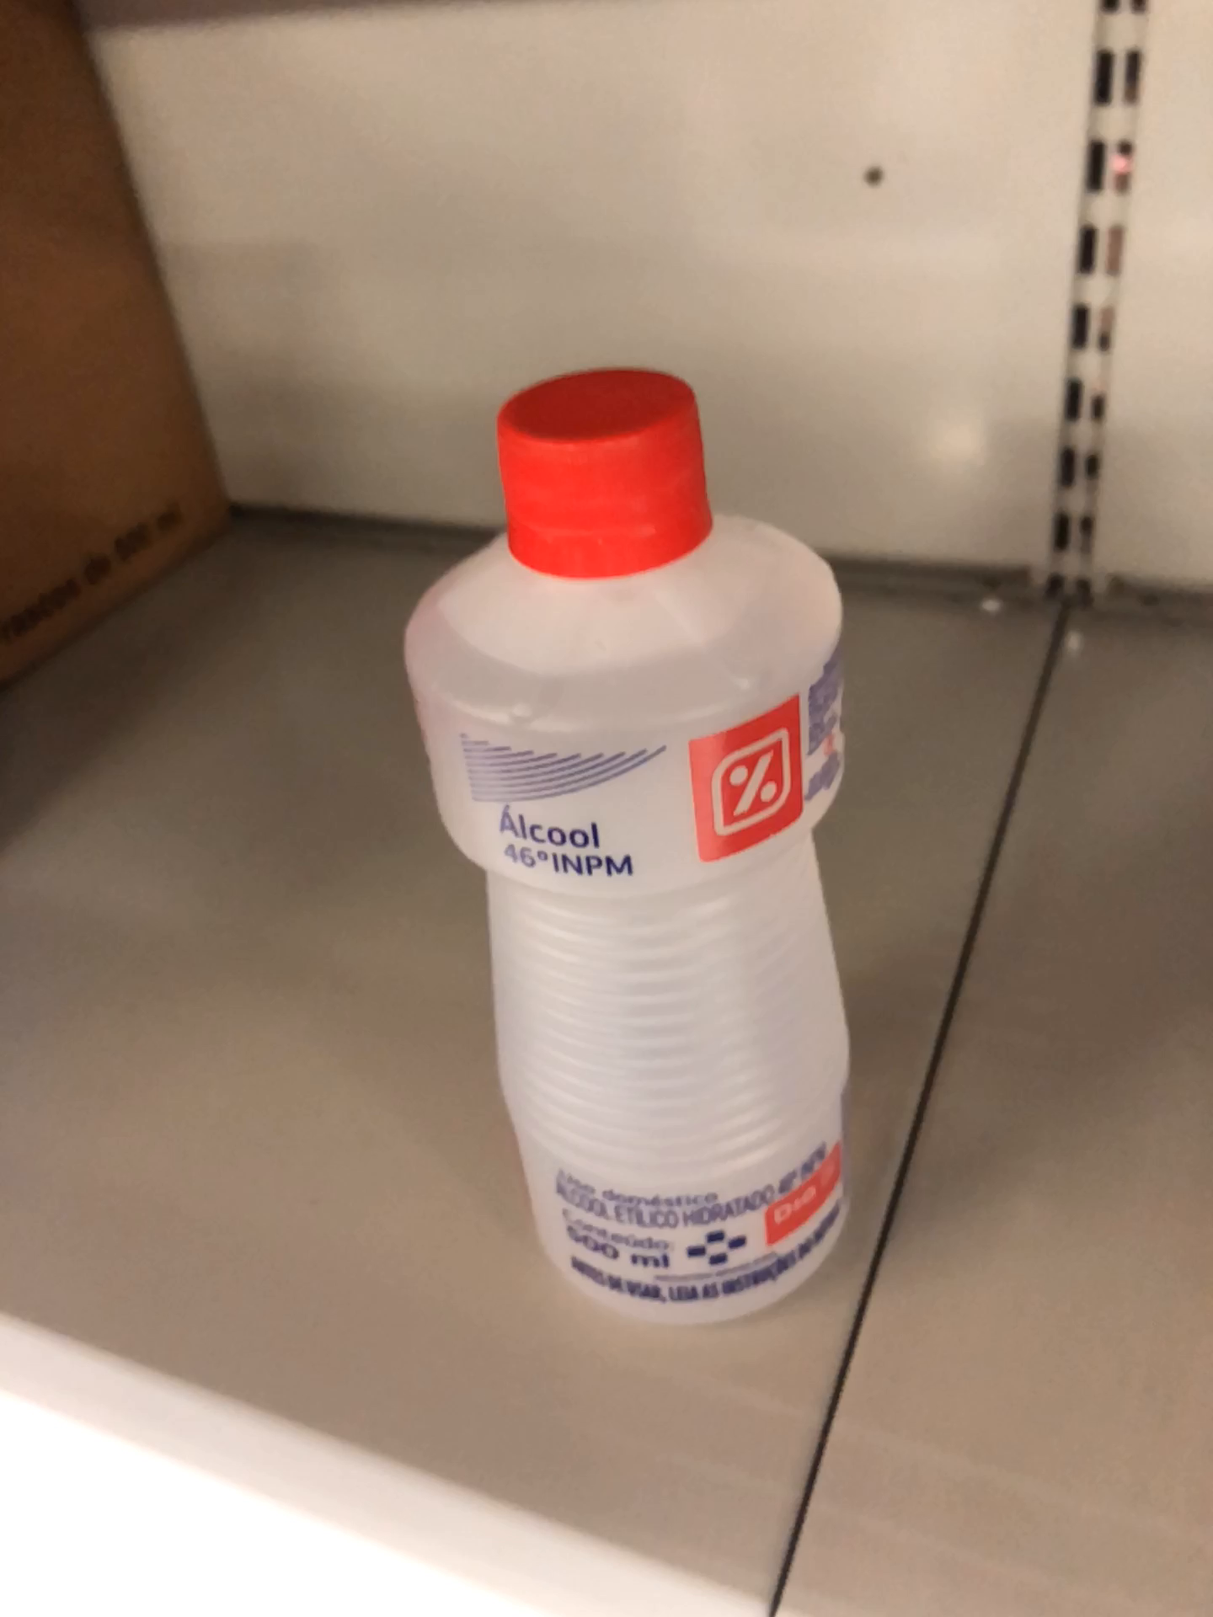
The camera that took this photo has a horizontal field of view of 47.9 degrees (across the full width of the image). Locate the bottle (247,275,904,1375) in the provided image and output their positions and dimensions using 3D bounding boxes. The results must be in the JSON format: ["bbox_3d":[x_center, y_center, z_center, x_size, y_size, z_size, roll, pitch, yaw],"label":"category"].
[{"bbox_3d":[0.012,0.011,0.246,0.080,0.179,0.081,-6,36,4],"label":"bottle"}]
